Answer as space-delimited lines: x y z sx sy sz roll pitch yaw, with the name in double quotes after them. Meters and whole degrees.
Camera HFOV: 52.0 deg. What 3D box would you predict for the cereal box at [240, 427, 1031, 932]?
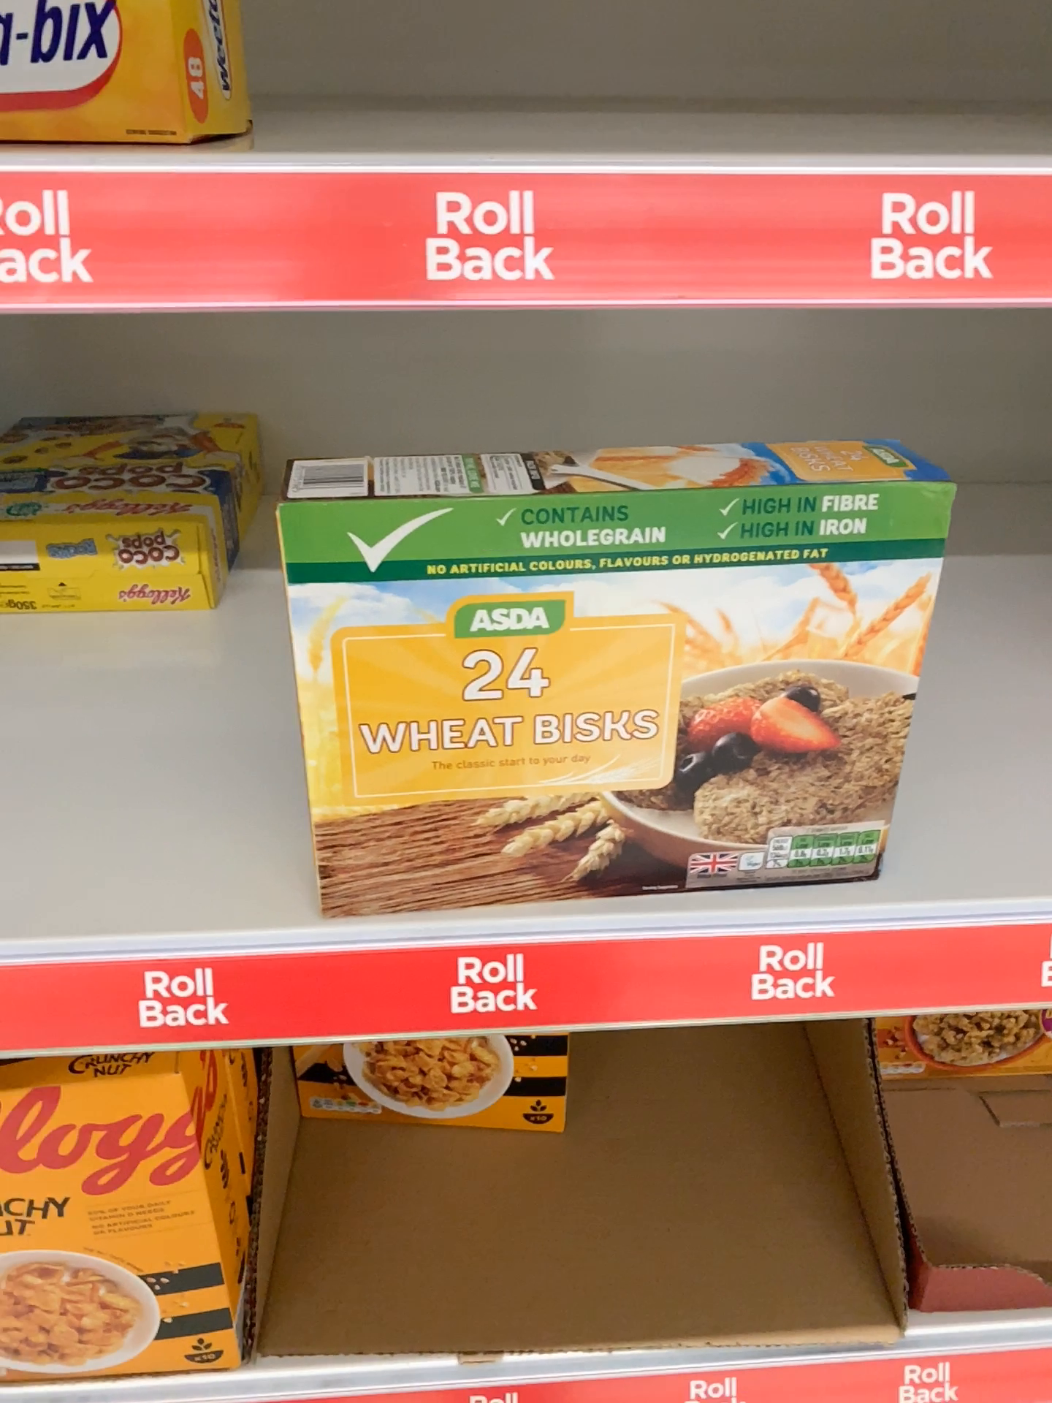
0.038 -0.008 0.431 0.270 0.178 0.061 -3 31 -7 "cereal box"
